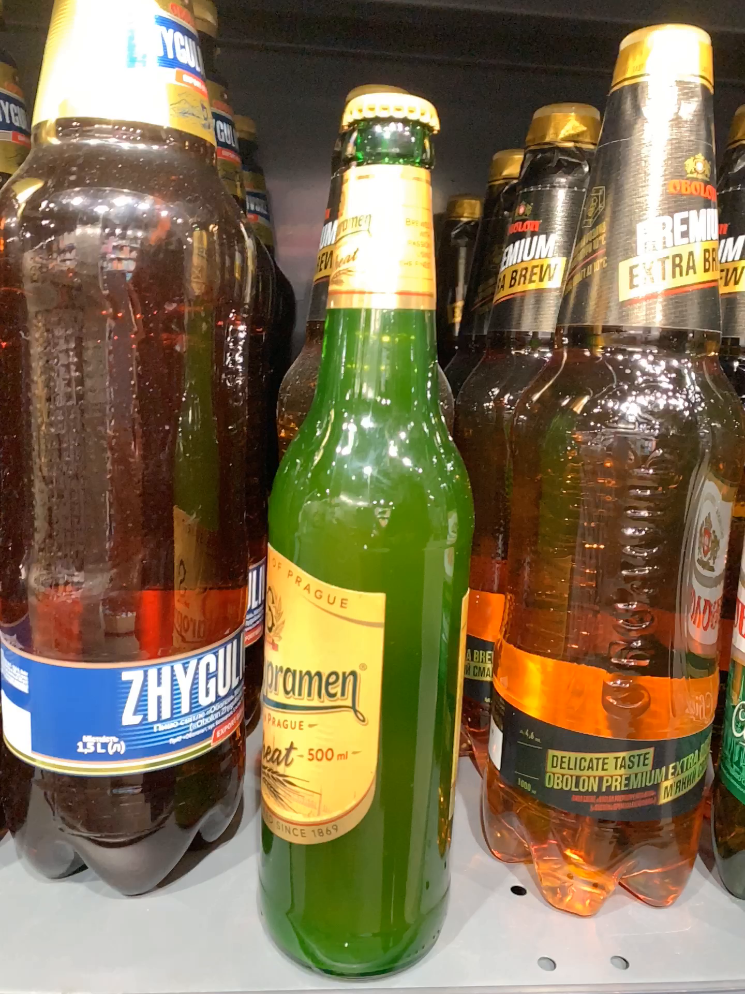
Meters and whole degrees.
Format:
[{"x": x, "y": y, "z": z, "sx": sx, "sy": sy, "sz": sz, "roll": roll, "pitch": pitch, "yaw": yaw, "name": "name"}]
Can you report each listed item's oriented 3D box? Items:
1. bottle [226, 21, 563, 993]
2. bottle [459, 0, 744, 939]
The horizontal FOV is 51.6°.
[{"x": 0.002, "y": 0.012, "z": 0.237, "sx": 0.068, "sy": 0.255, "sz": 0.062, "roll": 2, "pitch": 10, "yaw": 0, "name": "bottle"}, {"x": 0.085, "y": -0.006, "z": 0.253, "sx": 0.075, "sy": 0.270, "sz": 0.066, "roll": -1, "pitch": 10, "yaw": -17, "name": "bottle"}]
